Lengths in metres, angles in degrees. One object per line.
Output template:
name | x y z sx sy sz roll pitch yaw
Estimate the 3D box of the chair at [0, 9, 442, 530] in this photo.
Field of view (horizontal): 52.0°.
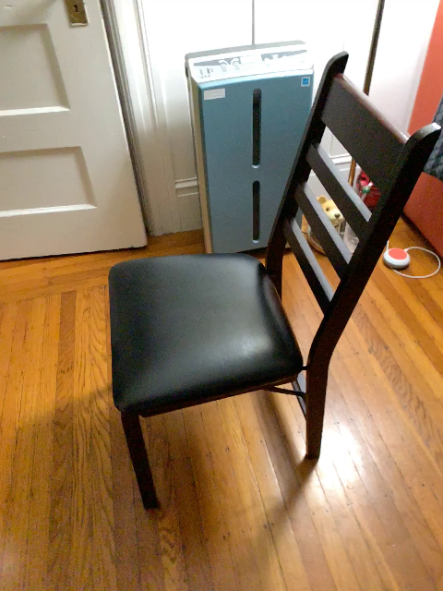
chair | -0.022 -0.004 0.931 0.550 0.865 0.493 -11 44 -8
